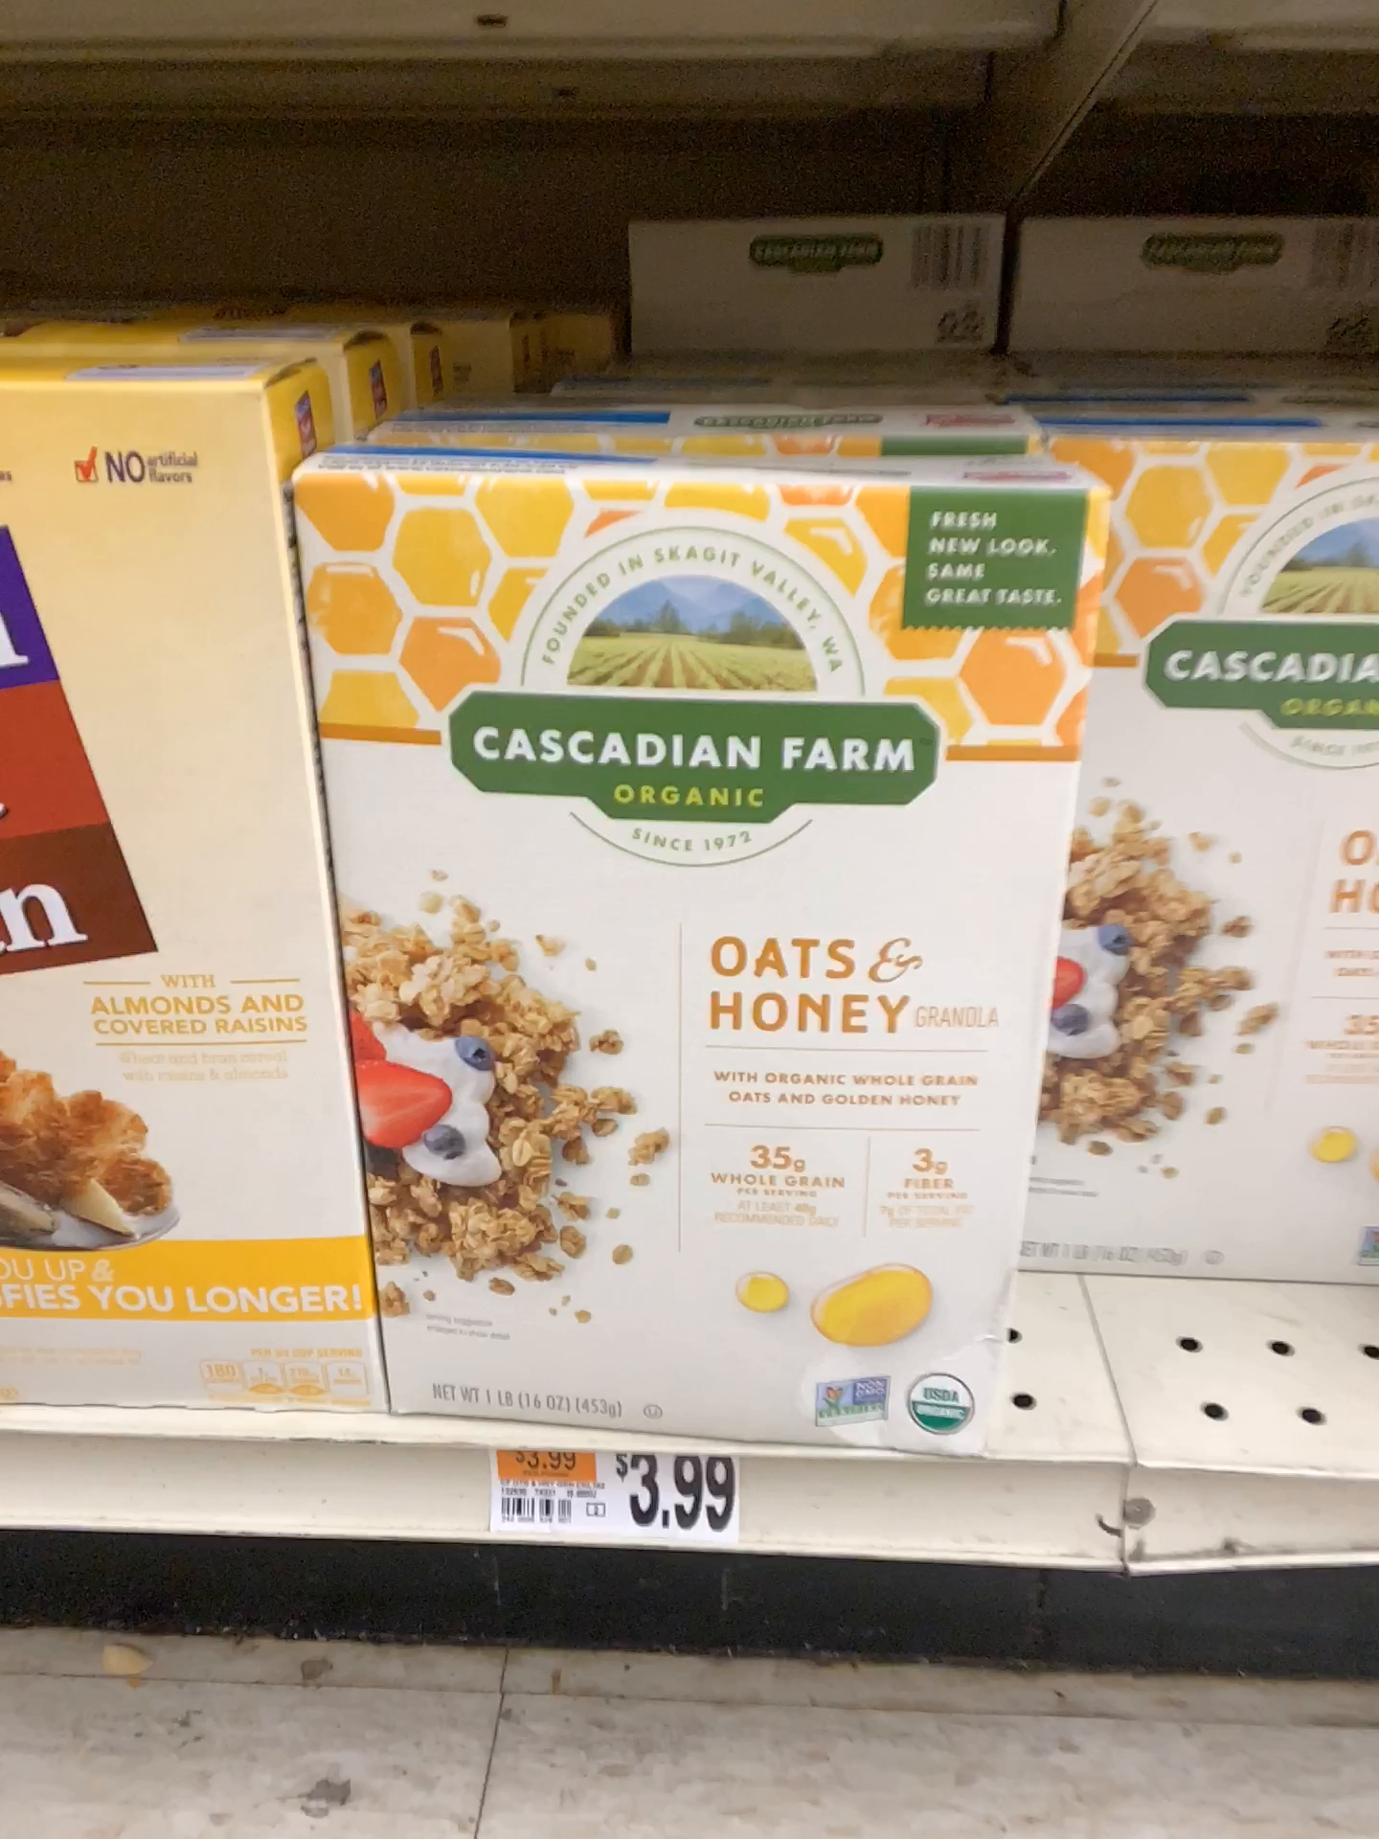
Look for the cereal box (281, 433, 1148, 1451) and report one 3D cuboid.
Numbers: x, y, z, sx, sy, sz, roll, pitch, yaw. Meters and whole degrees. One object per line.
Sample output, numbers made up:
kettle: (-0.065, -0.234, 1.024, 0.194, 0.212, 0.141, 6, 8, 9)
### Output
cereal box: (0.005, 0.010, 0.335, 0.160, 0.229, 0.060, 3, 24, 5)
